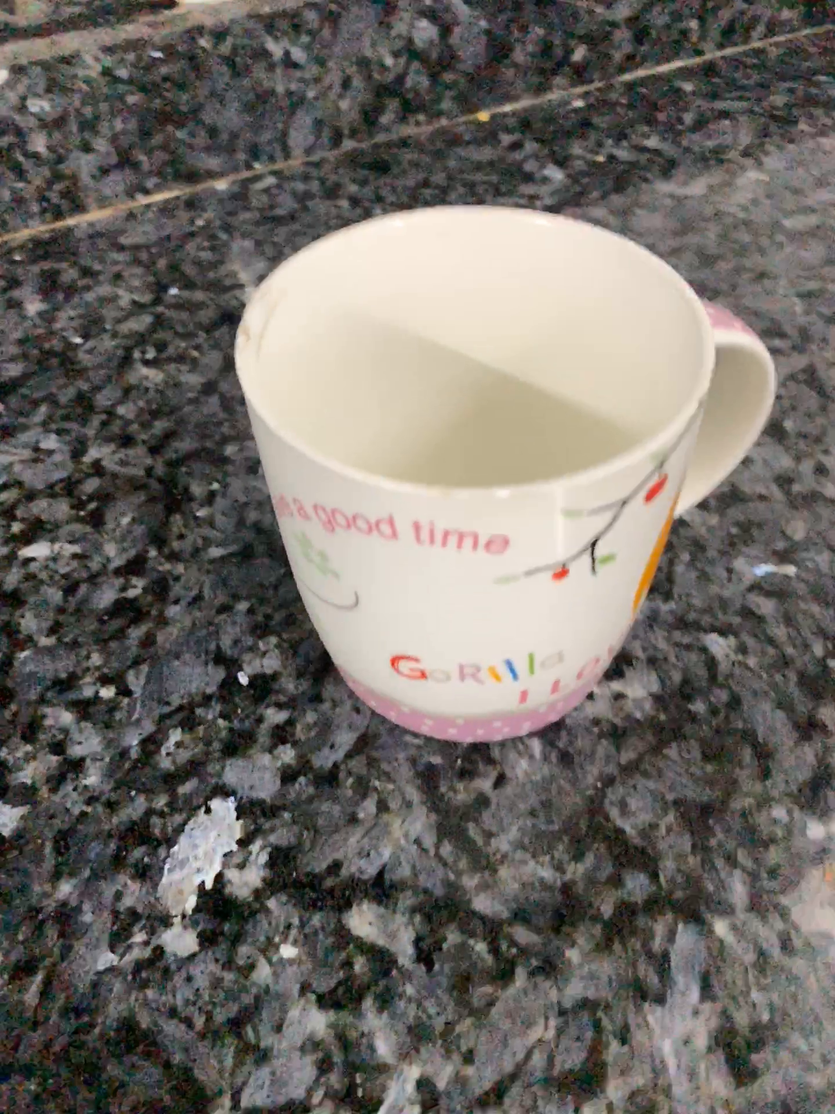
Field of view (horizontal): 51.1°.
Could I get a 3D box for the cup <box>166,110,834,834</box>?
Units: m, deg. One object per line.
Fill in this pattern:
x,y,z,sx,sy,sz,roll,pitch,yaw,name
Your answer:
0.027,-0.020,0.185,0.120,0.089,0.081,-21,52,-15,cup
